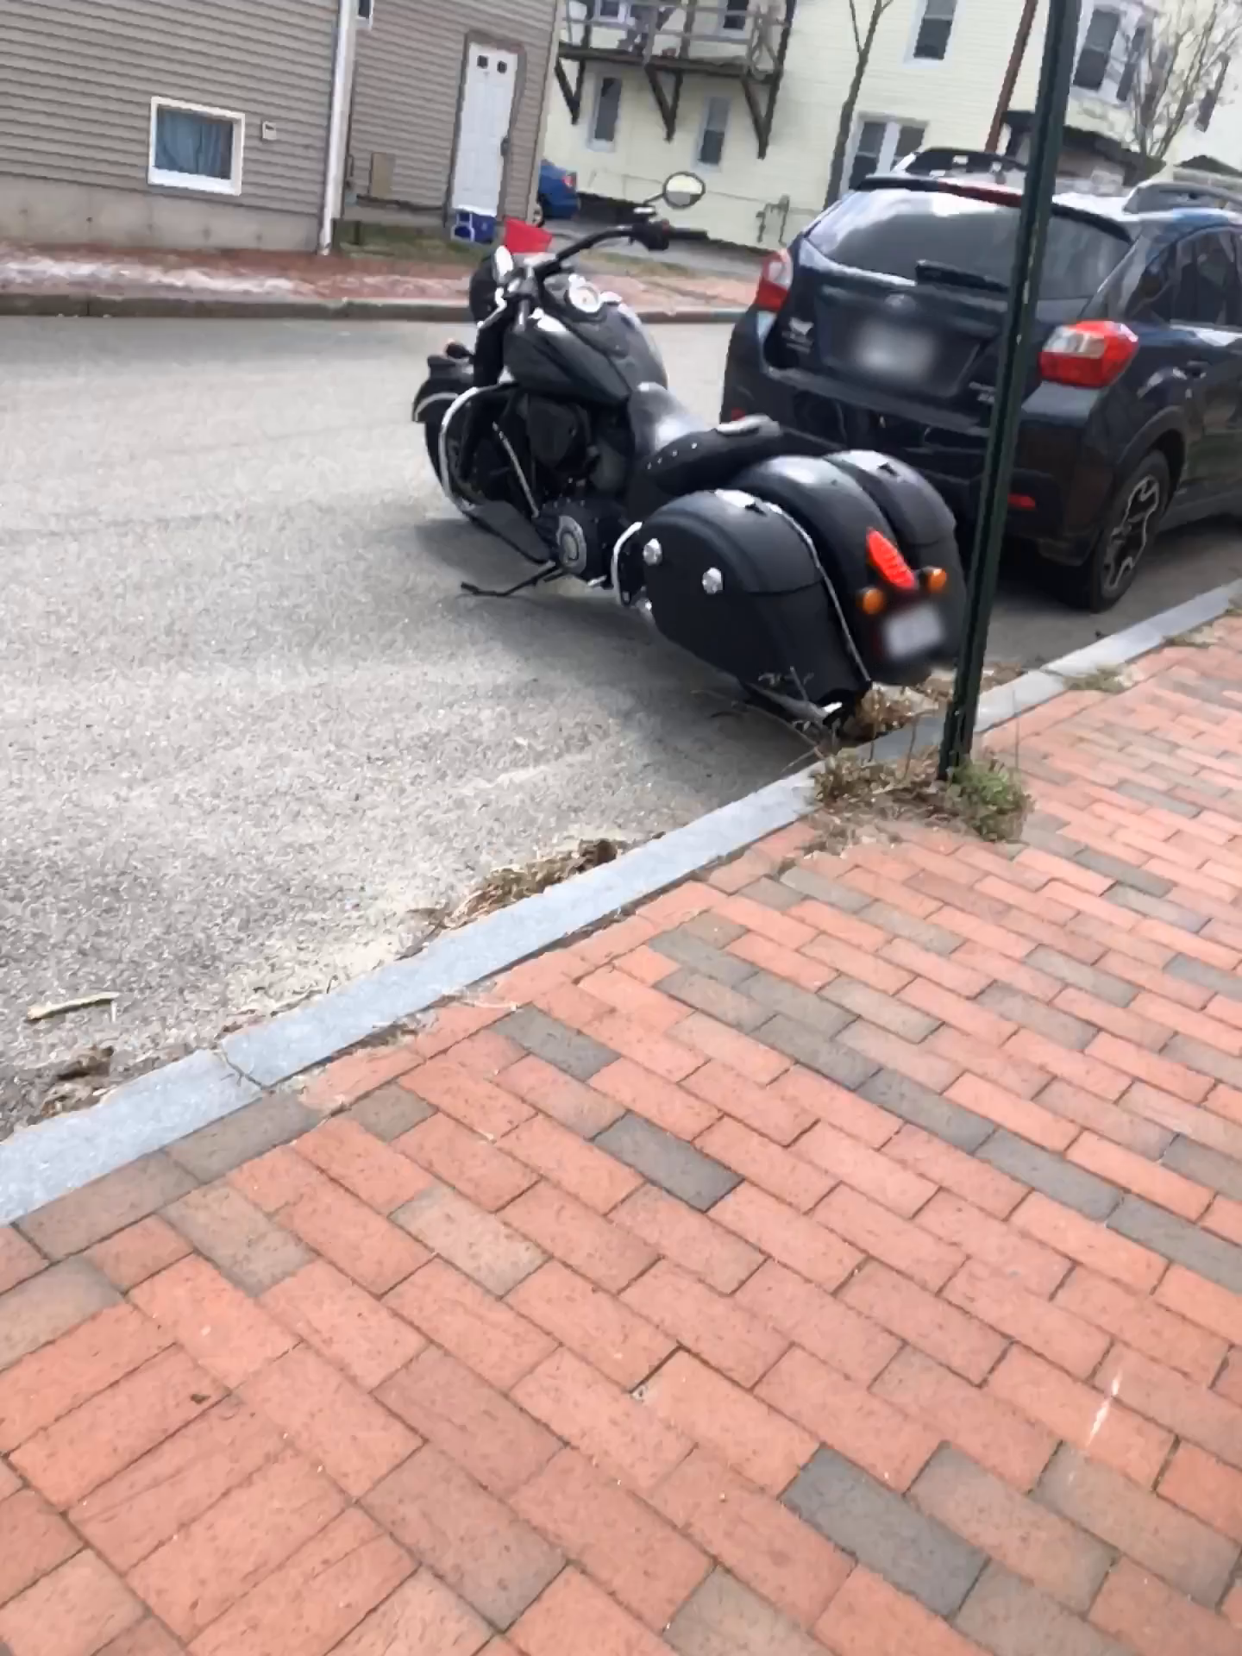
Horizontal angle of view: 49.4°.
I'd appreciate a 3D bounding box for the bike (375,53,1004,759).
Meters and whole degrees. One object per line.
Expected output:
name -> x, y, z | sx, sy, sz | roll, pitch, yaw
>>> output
bike -> 0.094, -1.163, 3.663 | 1.526, 1.145, 0.546 | 35, 33, 29
